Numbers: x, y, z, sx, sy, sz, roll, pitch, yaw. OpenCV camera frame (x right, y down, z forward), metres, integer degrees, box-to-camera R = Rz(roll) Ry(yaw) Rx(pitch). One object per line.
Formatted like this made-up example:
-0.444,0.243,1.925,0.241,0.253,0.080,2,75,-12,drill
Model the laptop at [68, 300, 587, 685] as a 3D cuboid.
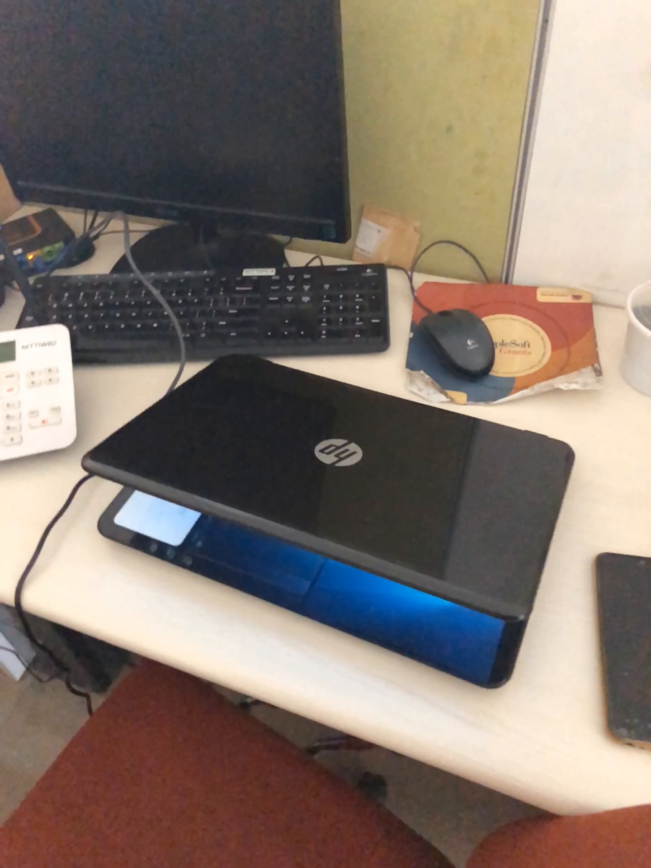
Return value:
0.010,0.023,0.612,0.350,0.072,0.246,17,51,19,laptop
